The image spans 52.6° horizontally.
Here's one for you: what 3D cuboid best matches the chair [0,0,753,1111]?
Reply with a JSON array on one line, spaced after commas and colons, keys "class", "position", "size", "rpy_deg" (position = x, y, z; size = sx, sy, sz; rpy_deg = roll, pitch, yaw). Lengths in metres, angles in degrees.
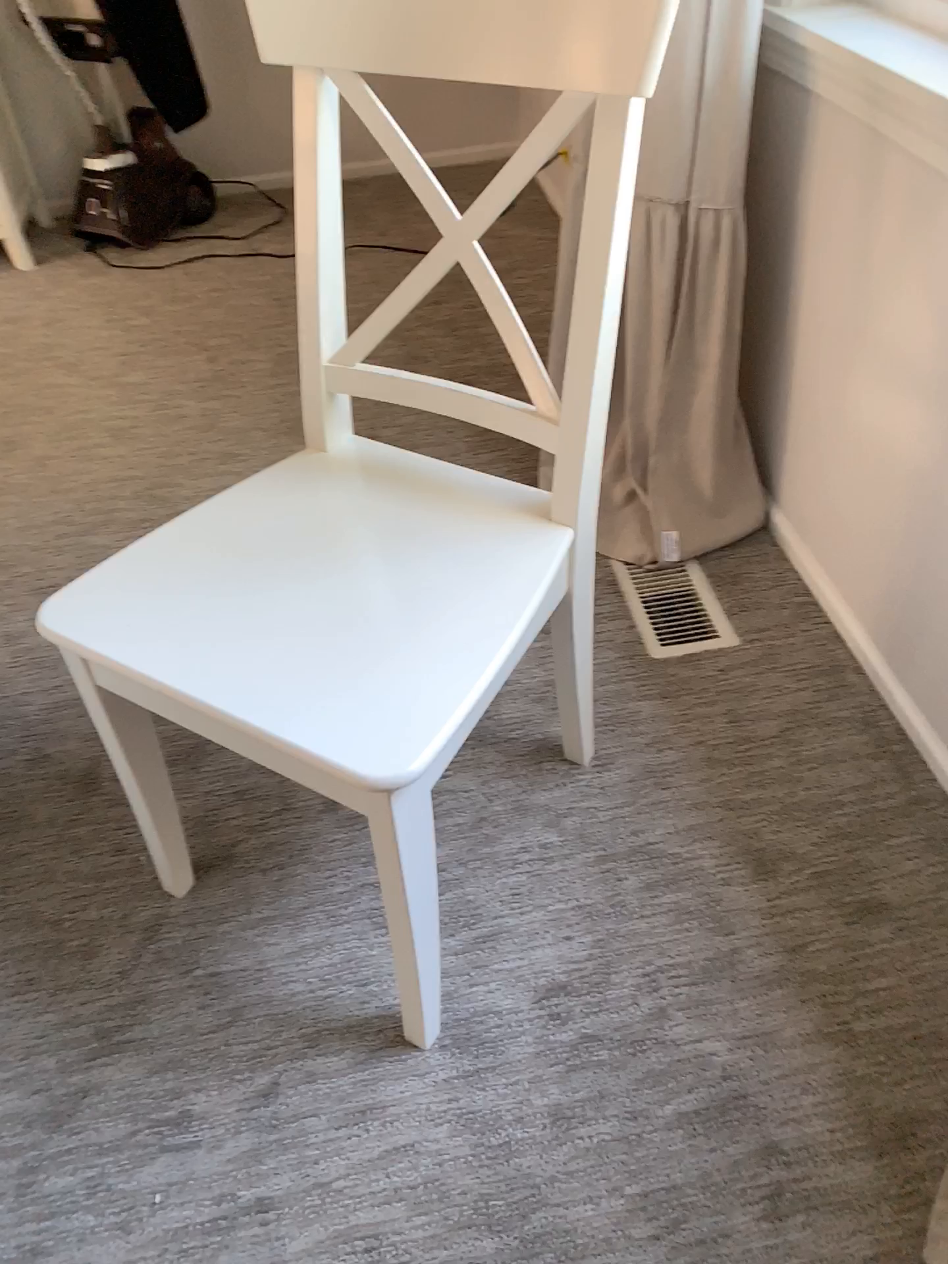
[{"class": "chair", "position": [-0.169, -0.117, 0.875], "size": [0.572, 0.855, 0.481], "rpy_deg": [22, 47, 27]}]
